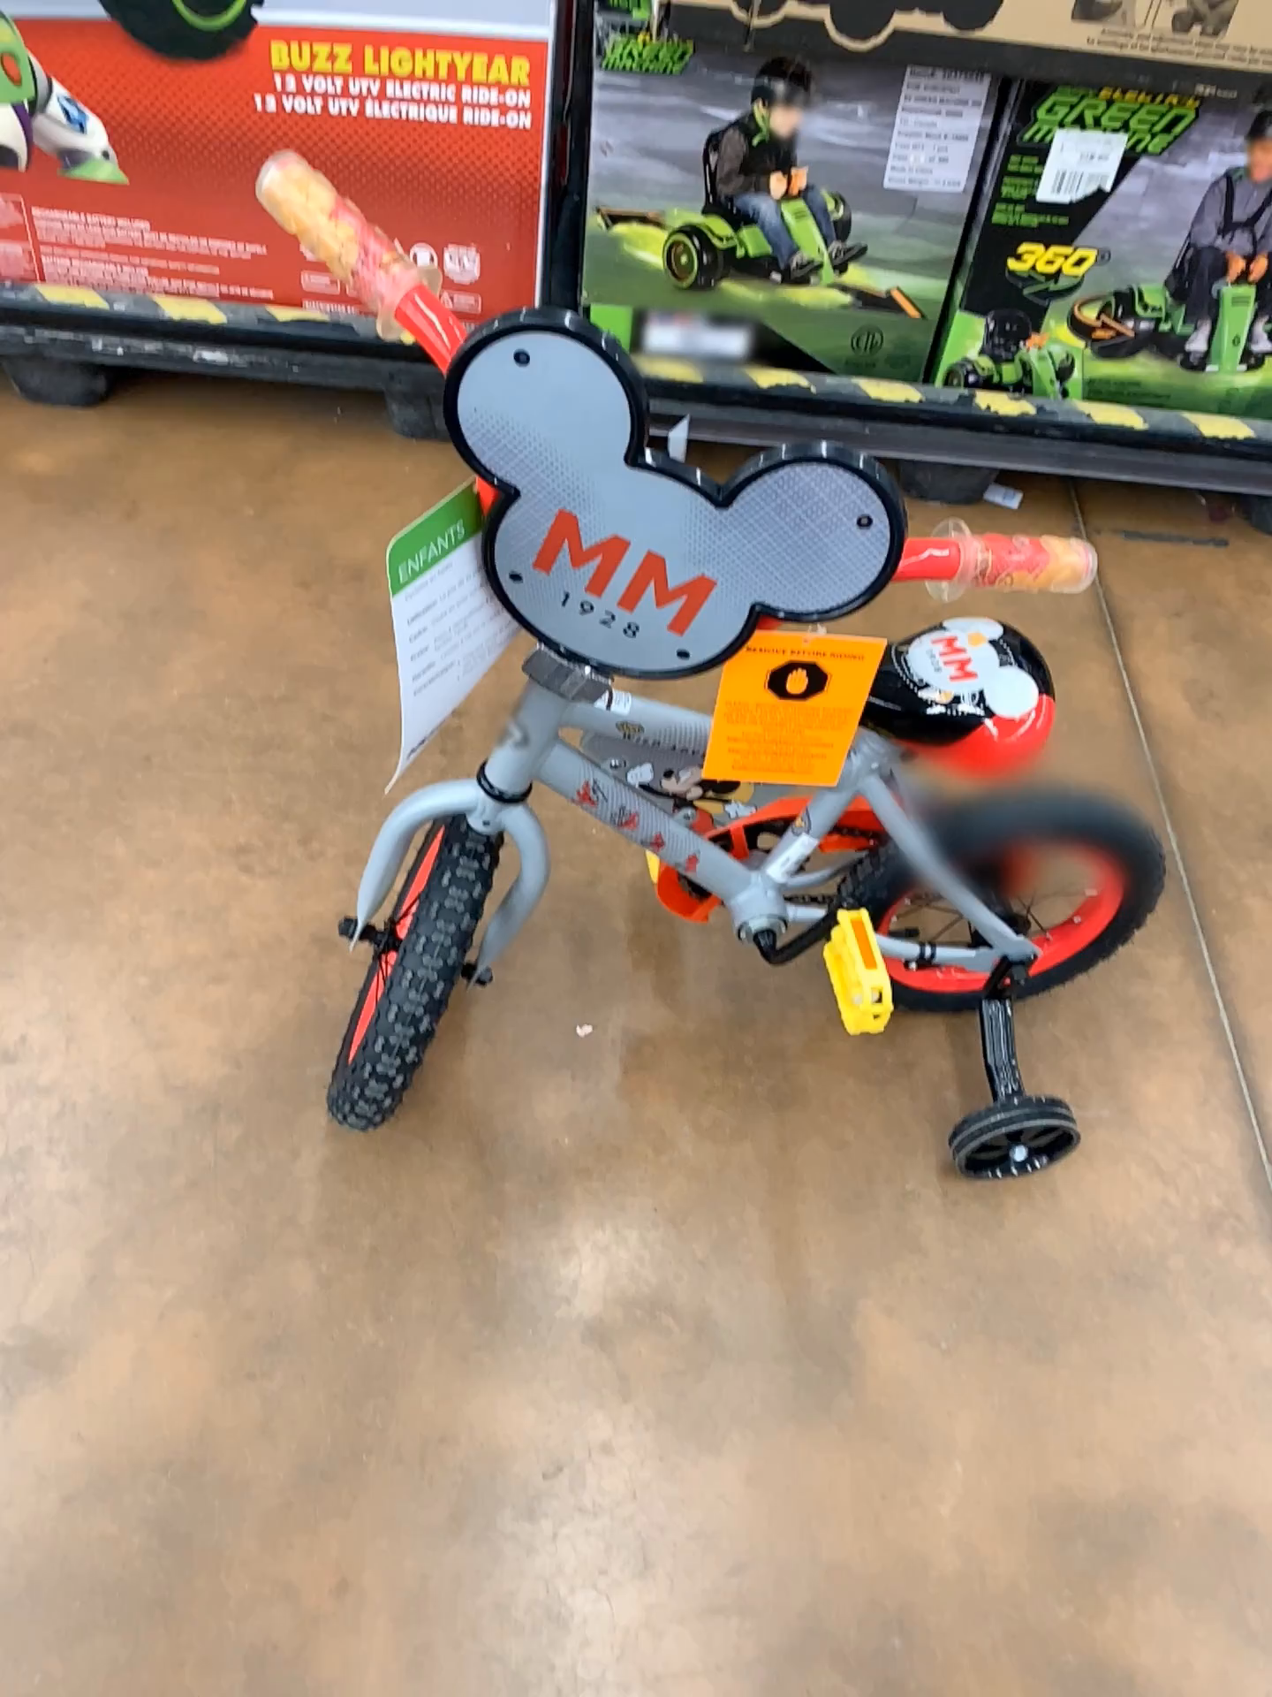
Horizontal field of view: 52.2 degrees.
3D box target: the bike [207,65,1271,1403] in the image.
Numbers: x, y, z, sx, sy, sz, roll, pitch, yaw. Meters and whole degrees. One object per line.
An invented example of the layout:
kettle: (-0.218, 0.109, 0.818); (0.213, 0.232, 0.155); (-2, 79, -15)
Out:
bike: (0.081, -0.049, 0.939); (0.641, 0.688, 0.453); (-12, 51, -12)
